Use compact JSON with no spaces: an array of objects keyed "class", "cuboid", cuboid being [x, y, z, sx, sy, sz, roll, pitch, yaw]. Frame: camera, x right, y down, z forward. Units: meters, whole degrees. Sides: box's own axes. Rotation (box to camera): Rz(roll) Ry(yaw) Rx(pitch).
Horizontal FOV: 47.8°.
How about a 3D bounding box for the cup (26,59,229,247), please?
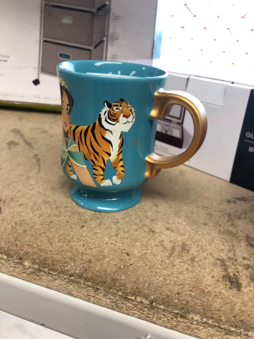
[{"class":"cup","cuboid":[0.000,-0.029,0.267,0.140,0.120,0.099,17,29,26]}]
